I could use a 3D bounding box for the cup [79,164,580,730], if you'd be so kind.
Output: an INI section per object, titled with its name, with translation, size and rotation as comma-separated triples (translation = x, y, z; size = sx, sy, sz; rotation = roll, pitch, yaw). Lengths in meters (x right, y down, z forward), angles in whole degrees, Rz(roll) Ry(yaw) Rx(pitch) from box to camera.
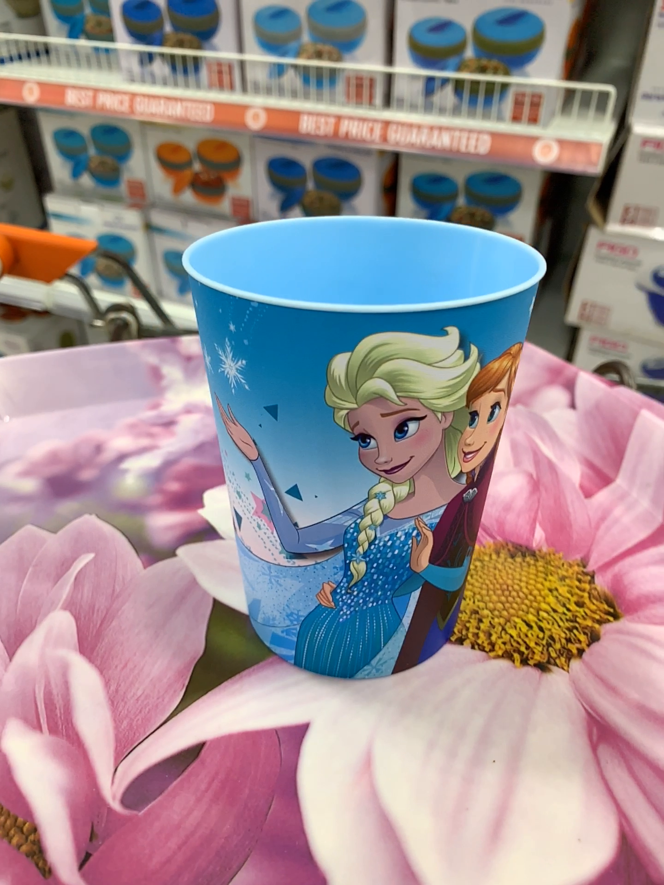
[cup]
translation = 0.003, 0.001, 0.164
size = 0.080, 0.109, 0.060
rotation = 6, 35, 10
